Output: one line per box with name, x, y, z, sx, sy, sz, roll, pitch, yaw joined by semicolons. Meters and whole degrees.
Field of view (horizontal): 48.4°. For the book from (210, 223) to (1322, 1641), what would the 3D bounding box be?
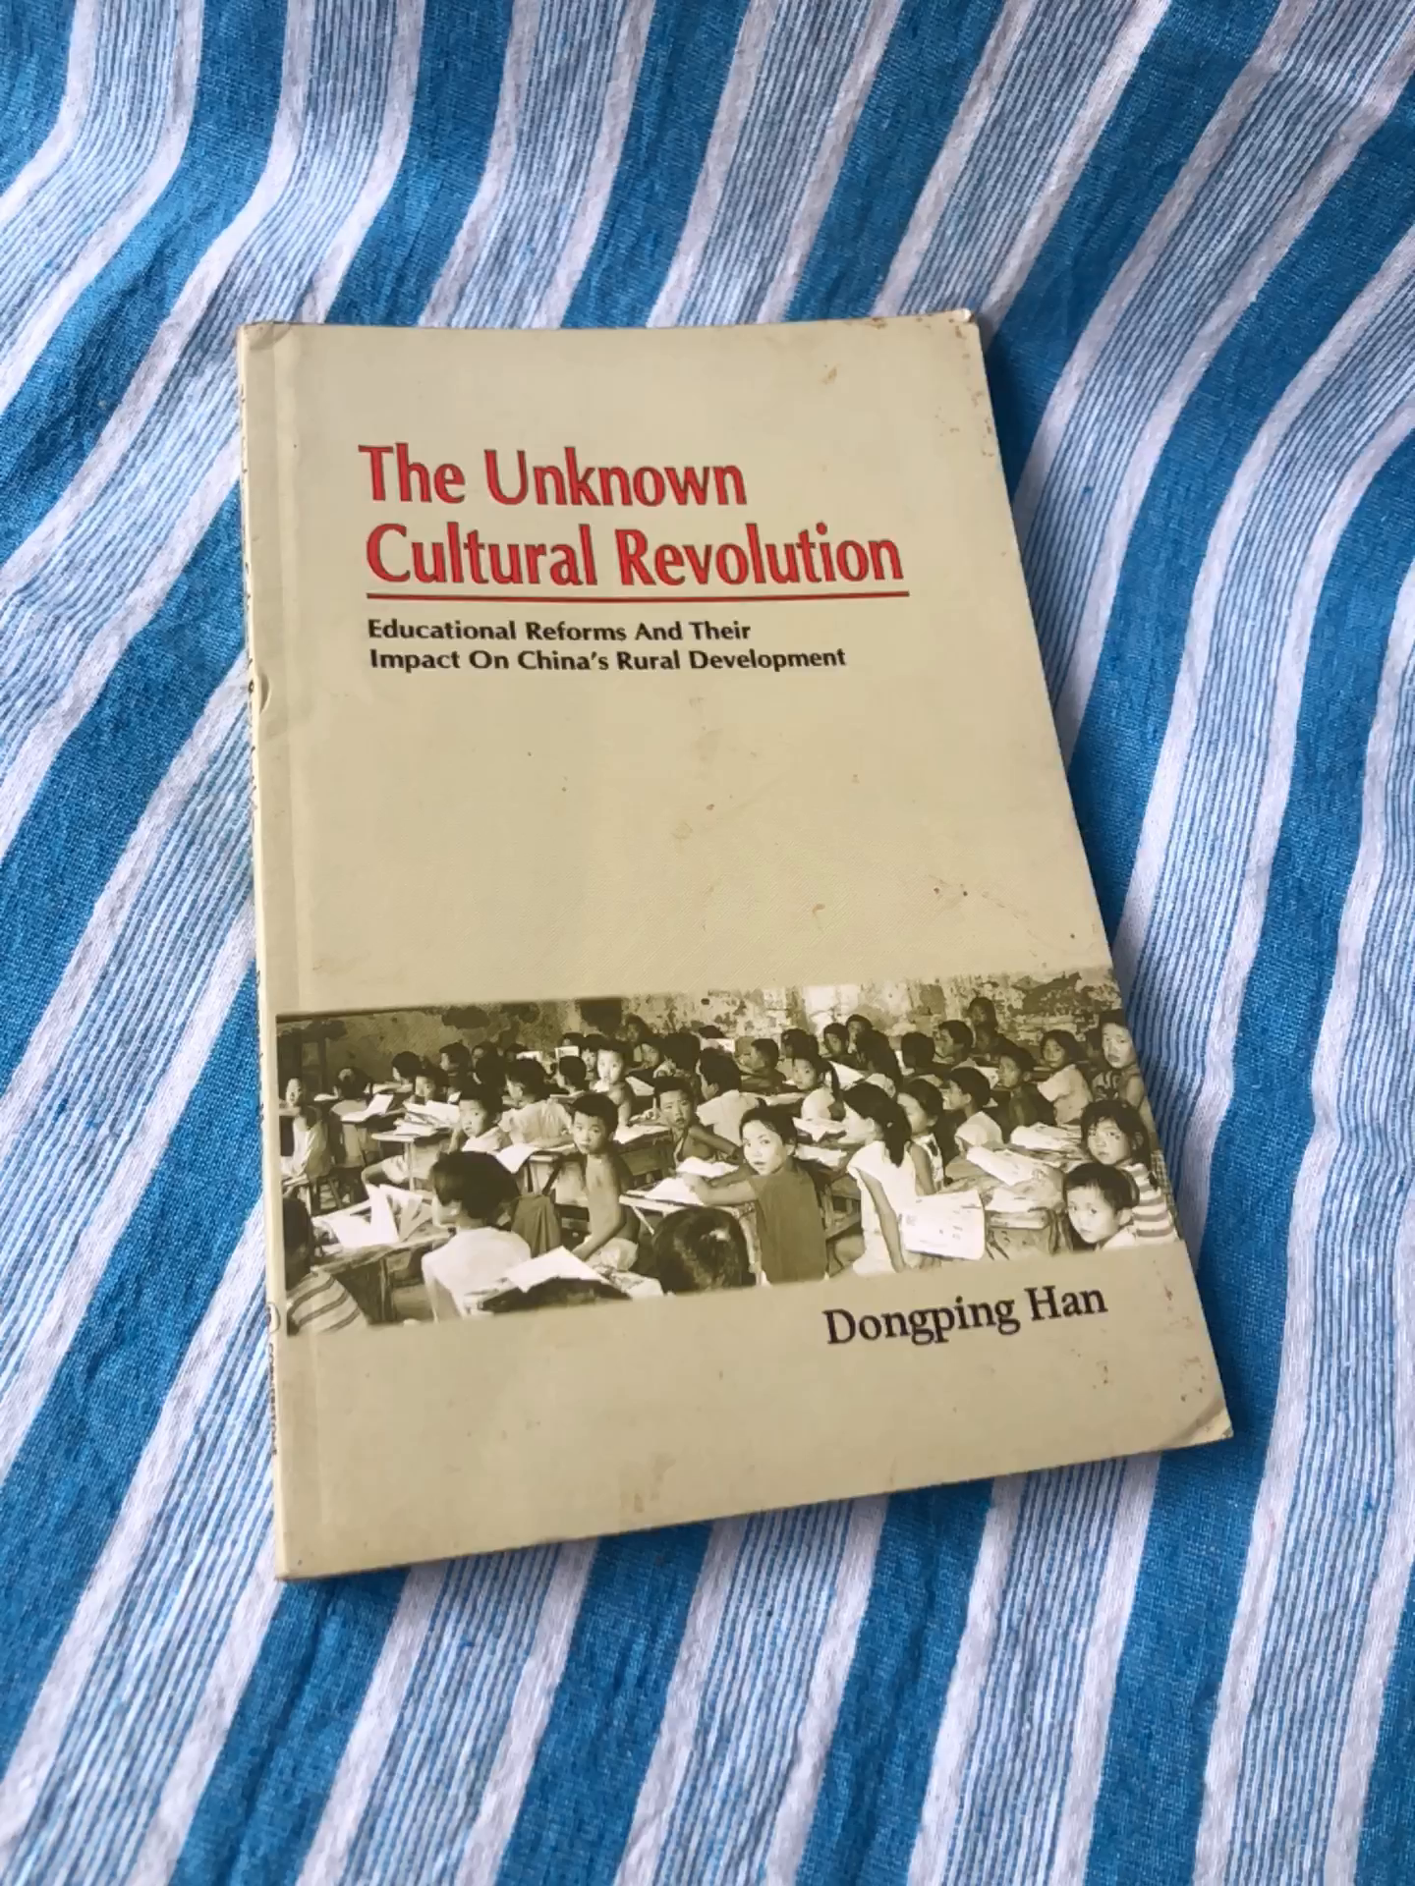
book;-0.005;-0.023;0.252;0.140;0.020;0.230;-5;65;-7
